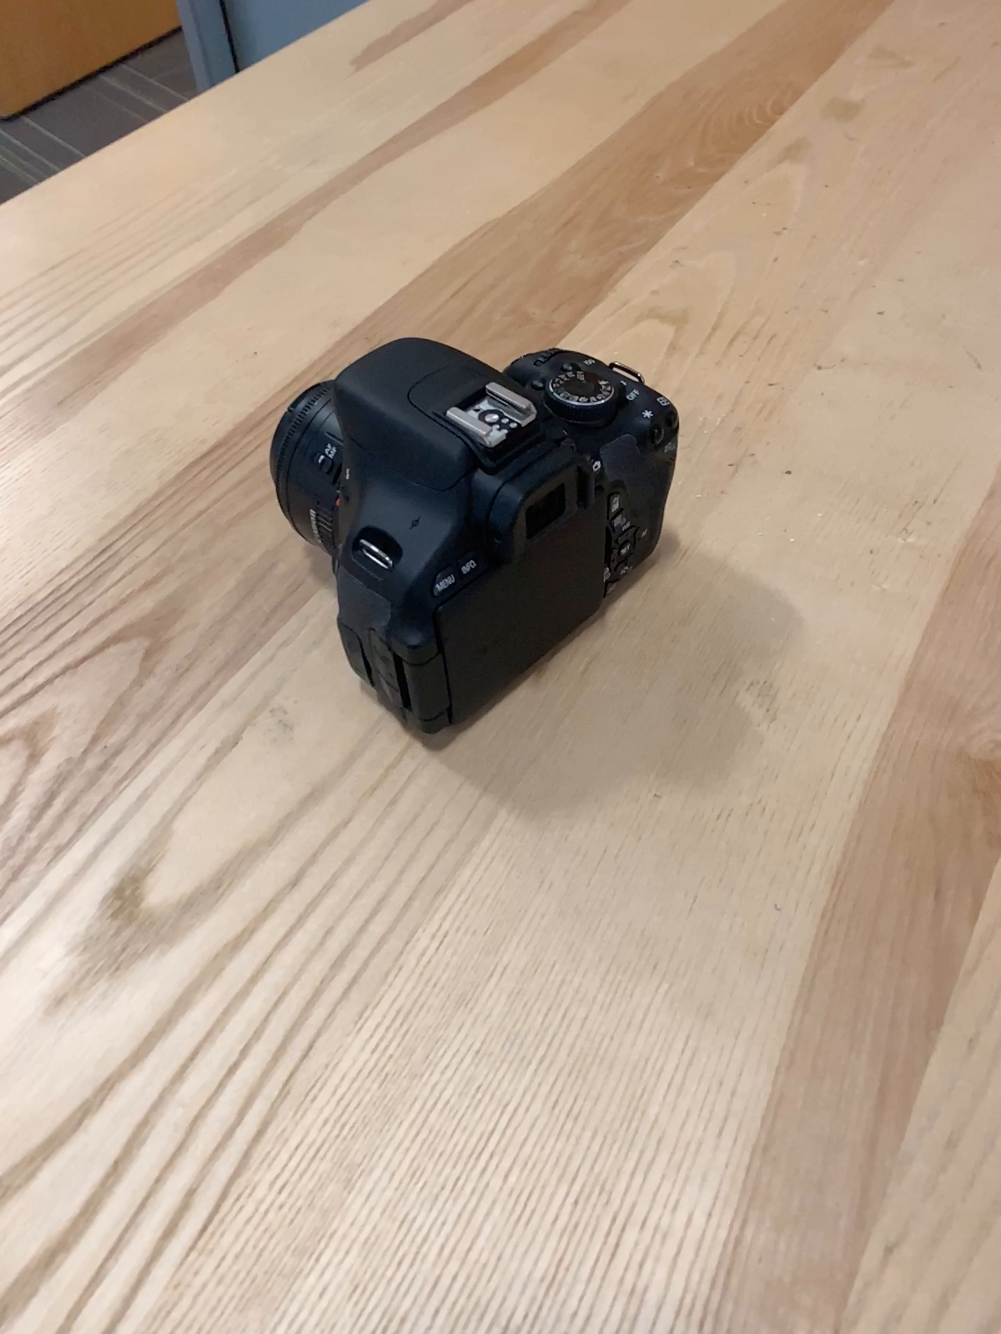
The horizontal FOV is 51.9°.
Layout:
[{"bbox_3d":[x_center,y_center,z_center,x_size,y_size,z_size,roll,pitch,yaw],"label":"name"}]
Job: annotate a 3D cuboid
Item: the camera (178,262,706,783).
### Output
[{"bbox_3d":[-0.016,-0.056,0.364,0.116,0.094,0.123,34,60,28],"label":"camera"}]
